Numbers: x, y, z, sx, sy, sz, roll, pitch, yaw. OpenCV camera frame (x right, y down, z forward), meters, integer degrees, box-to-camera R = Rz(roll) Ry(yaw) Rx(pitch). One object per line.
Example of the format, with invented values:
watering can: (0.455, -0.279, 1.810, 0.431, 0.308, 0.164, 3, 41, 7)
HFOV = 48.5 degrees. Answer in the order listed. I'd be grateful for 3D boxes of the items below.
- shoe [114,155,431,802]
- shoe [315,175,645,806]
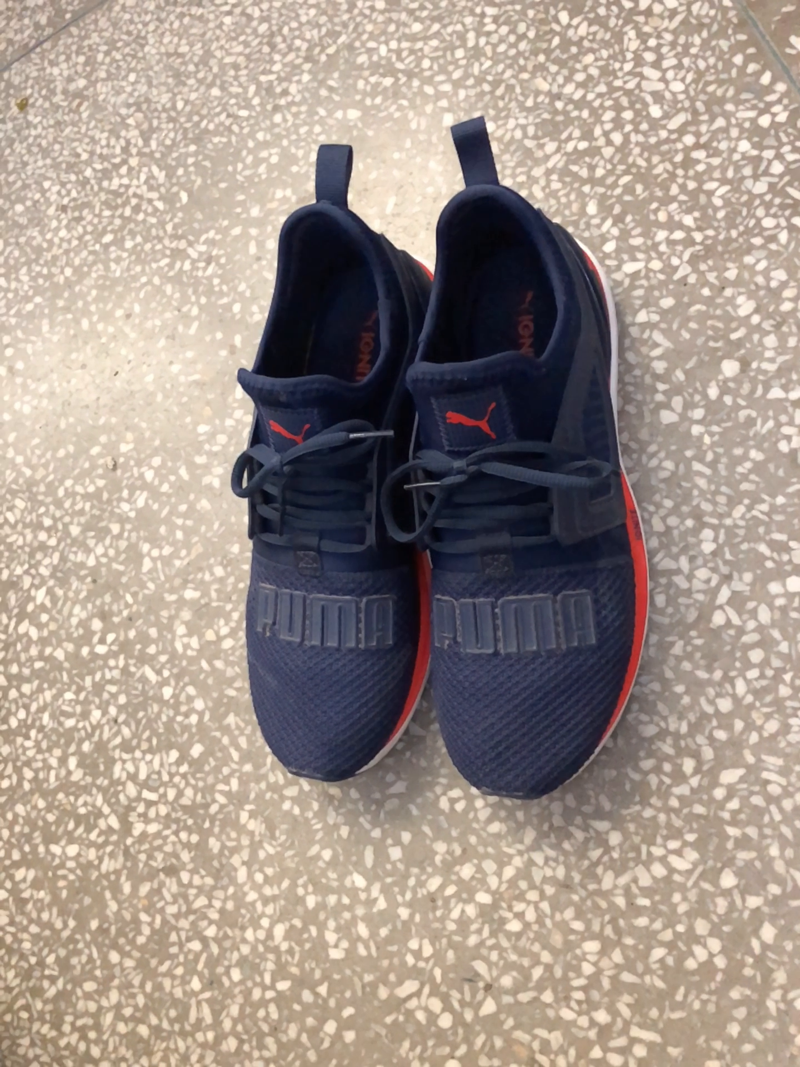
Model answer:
shoe: (-0.050, -0.020, 0.419, 0.100, 0.100, 0.270, -3, 77, 19)
shoe: (0.042, -0.008, 0.387, 0.100, 0.120, 0.230, -4, 77, 24)
